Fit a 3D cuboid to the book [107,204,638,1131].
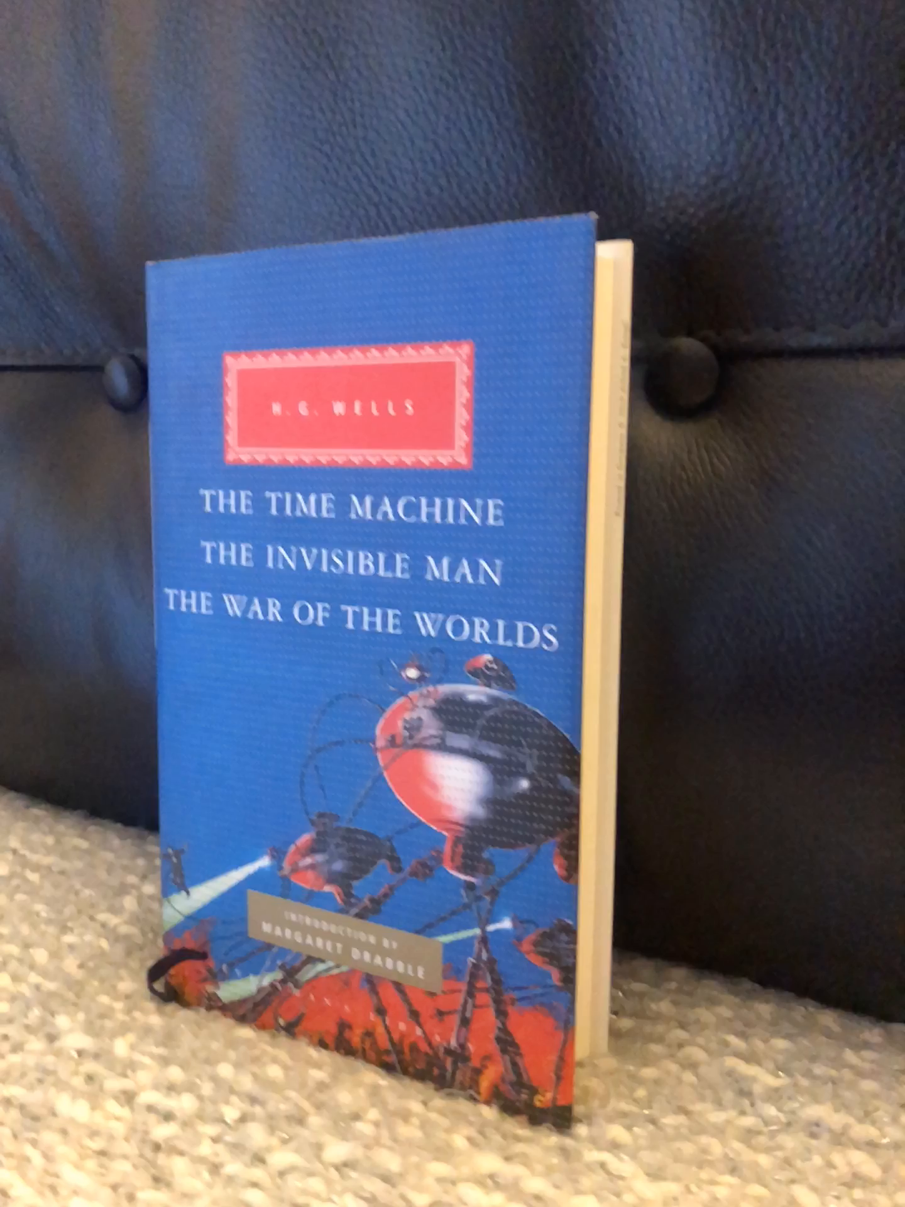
[{"bbox_3d":[-0.027,0.015,0.289,0.148,0.226,0.034,4,8,26],"label":"book"}]
